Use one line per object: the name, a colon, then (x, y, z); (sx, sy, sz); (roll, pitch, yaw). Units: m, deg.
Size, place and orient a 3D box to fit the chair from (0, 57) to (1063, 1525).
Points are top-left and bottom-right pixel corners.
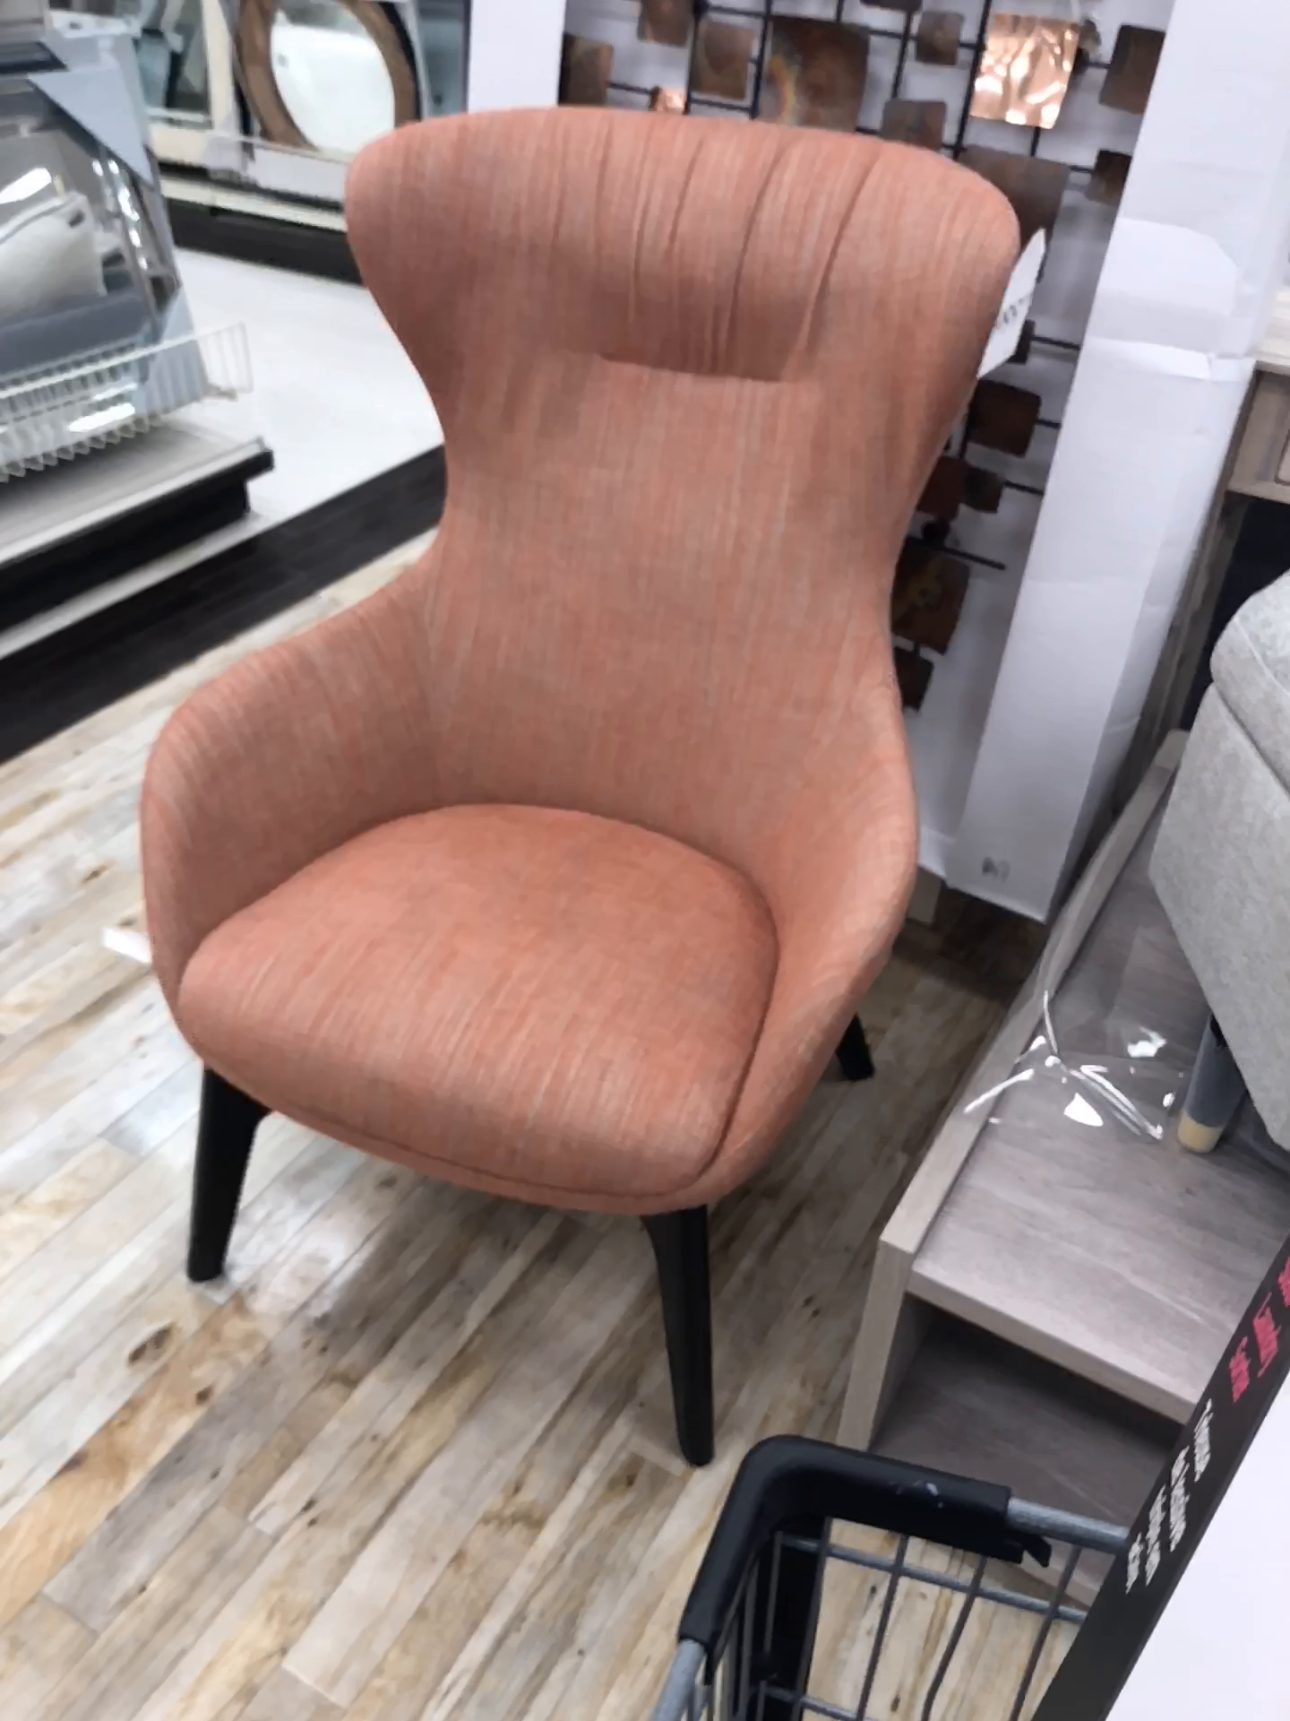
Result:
chair: (-0.101, -0.105, 1.398); (0.690, 1.066, 0.753); (14, 37, 15)
